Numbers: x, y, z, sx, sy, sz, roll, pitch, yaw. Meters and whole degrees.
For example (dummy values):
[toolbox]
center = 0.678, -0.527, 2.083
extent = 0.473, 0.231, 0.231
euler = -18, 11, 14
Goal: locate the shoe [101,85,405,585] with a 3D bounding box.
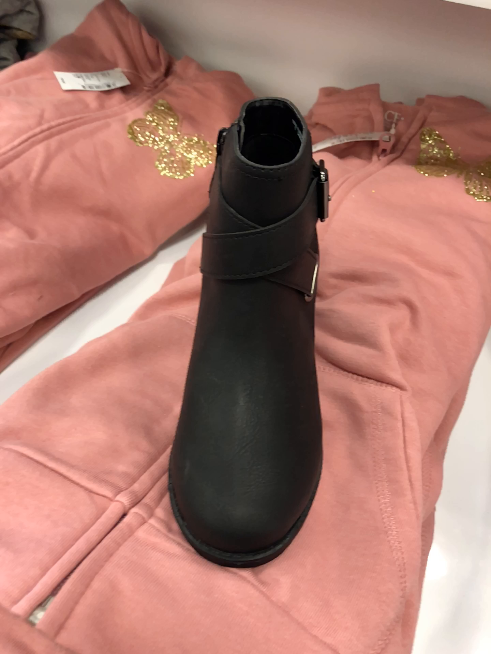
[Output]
[shoe]
center = 0.004, -0.008, 0.261
extent = 0.080, 0.130, 0.201
euler = 4, 45, 0
